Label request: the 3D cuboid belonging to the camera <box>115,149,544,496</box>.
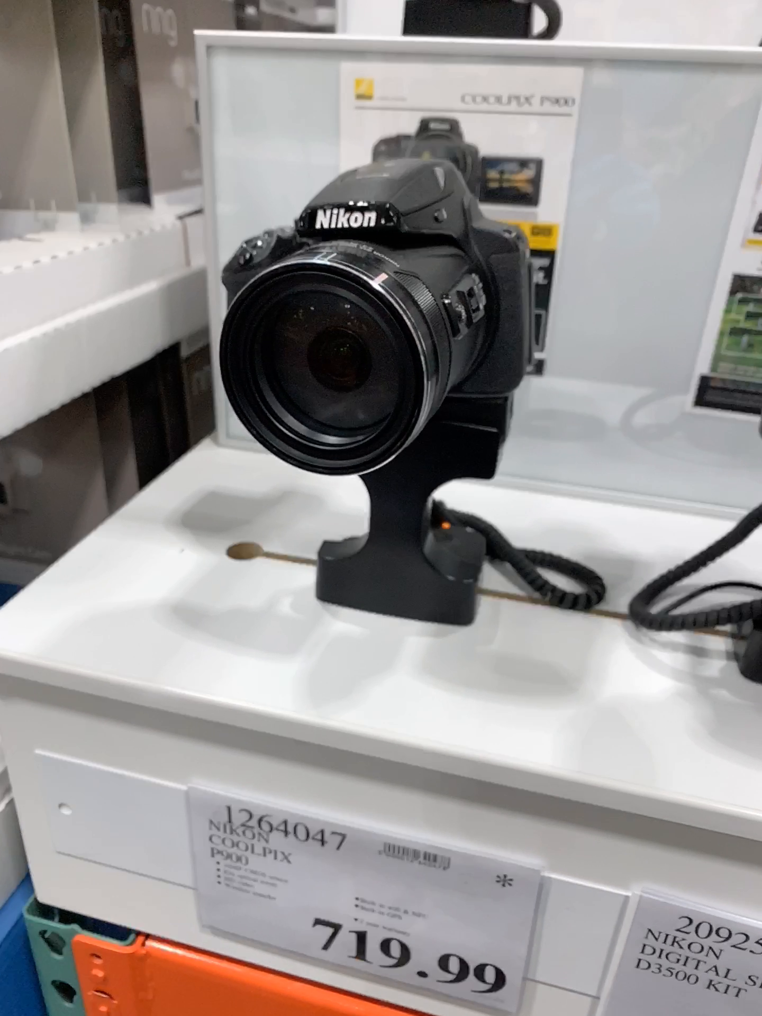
[{"bbox_3d":[-0.007,-0.092,0.349,0.130,0.109,0.151,6,27,17],"label":"camera"}]
